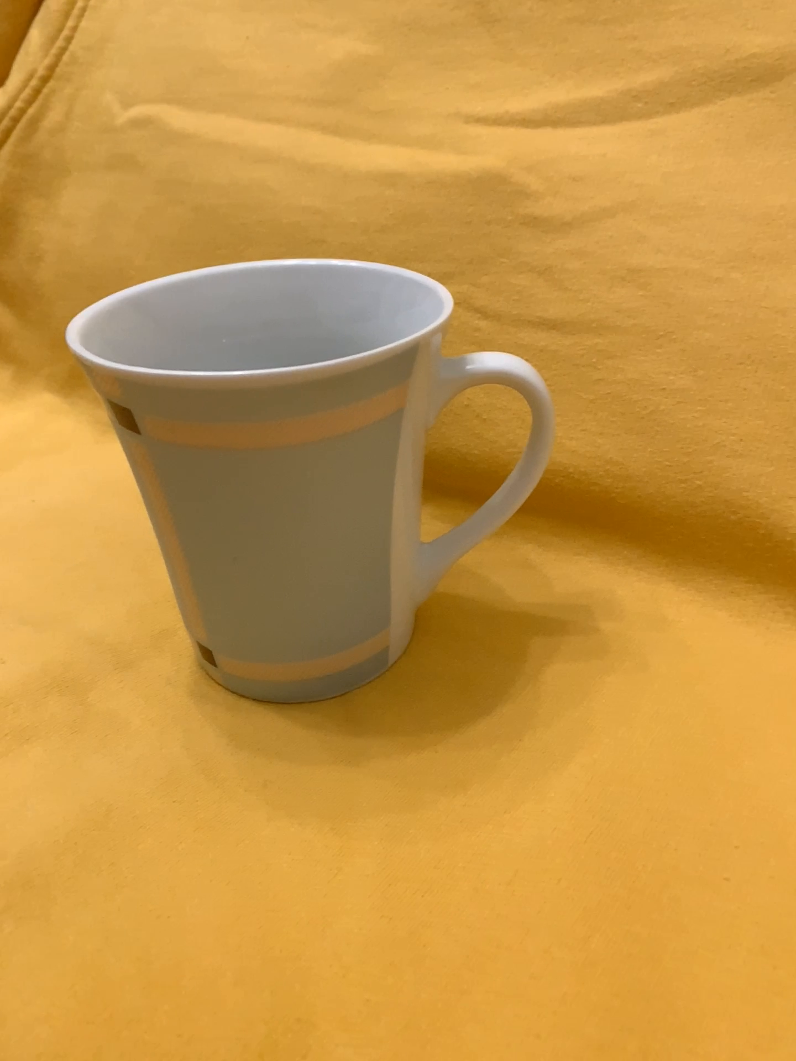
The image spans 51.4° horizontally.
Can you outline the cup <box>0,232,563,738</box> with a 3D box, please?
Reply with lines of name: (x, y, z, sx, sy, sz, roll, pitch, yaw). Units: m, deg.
cup: (-0.018, -0.017, 0.237, 0.120, 0.103, 0.099, 1, 34, 8)
